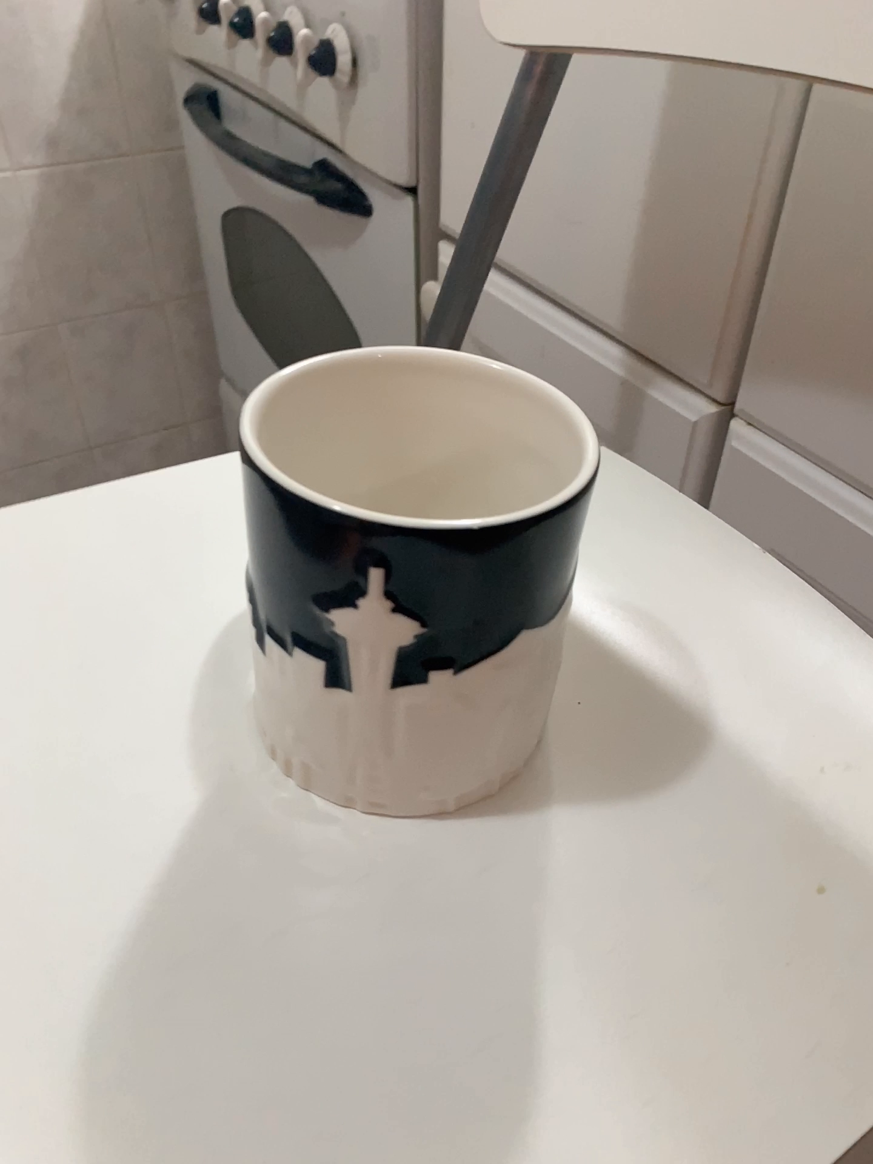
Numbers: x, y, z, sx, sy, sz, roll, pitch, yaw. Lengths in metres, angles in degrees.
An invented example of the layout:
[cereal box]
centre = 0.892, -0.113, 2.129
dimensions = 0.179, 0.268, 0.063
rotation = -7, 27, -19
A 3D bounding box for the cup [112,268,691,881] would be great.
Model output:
[cup]
centre = -0.019, -0.014, 0.279
dimensions = 0.104, 0.100, 0.144
rotation = -20, 45, -22
